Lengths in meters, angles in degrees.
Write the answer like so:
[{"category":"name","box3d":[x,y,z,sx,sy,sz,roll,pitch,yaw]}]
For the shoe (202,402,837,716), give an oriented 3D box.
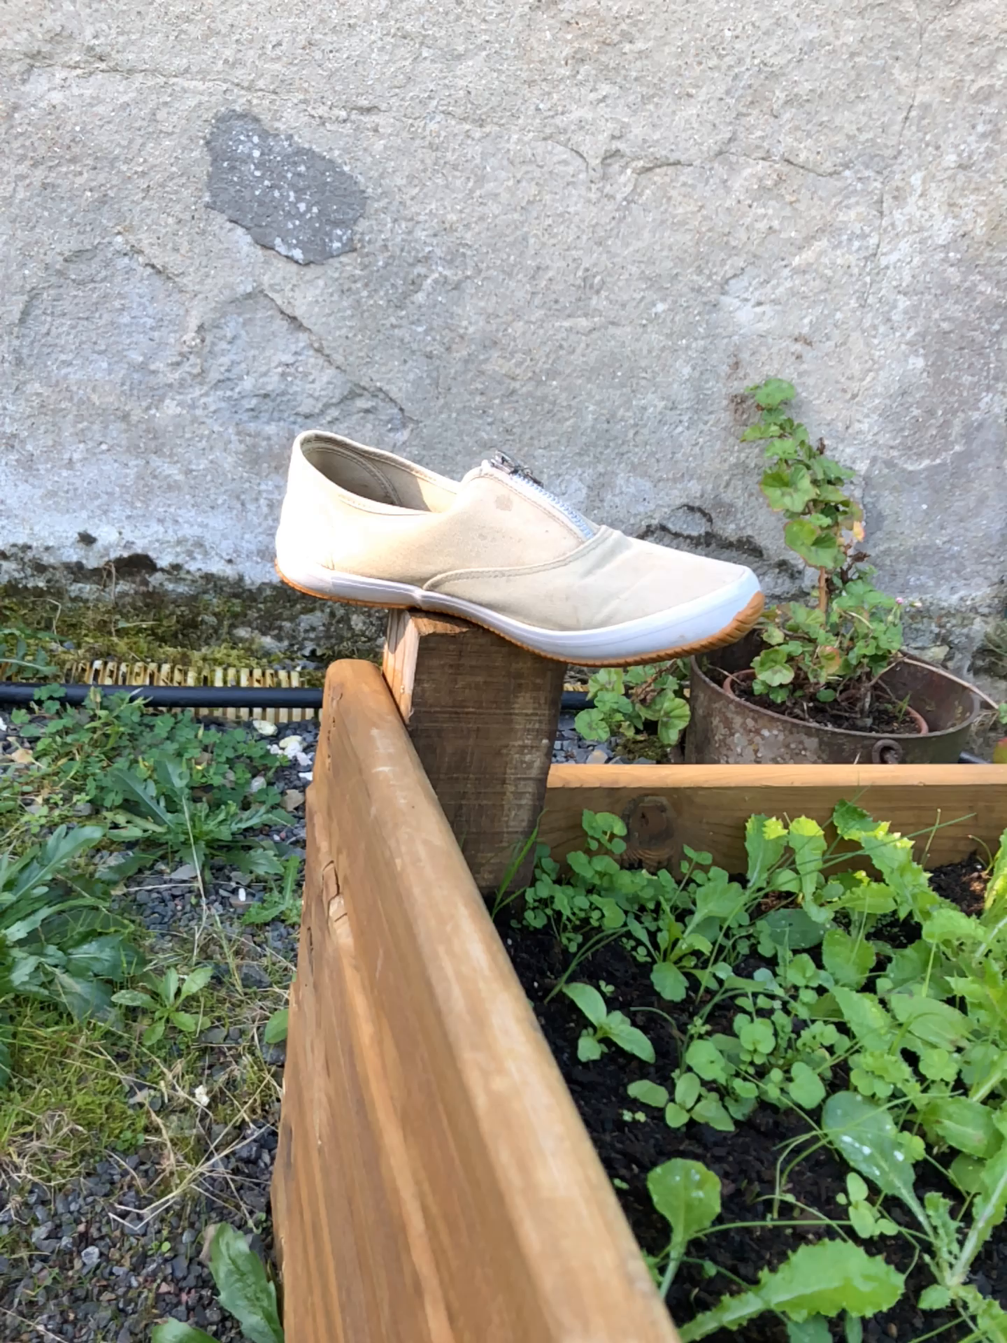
[{"category":"shoe","box3d":[0.000,-0.064,0.496,0.260,0.070,0.111,17,23,27]}]
